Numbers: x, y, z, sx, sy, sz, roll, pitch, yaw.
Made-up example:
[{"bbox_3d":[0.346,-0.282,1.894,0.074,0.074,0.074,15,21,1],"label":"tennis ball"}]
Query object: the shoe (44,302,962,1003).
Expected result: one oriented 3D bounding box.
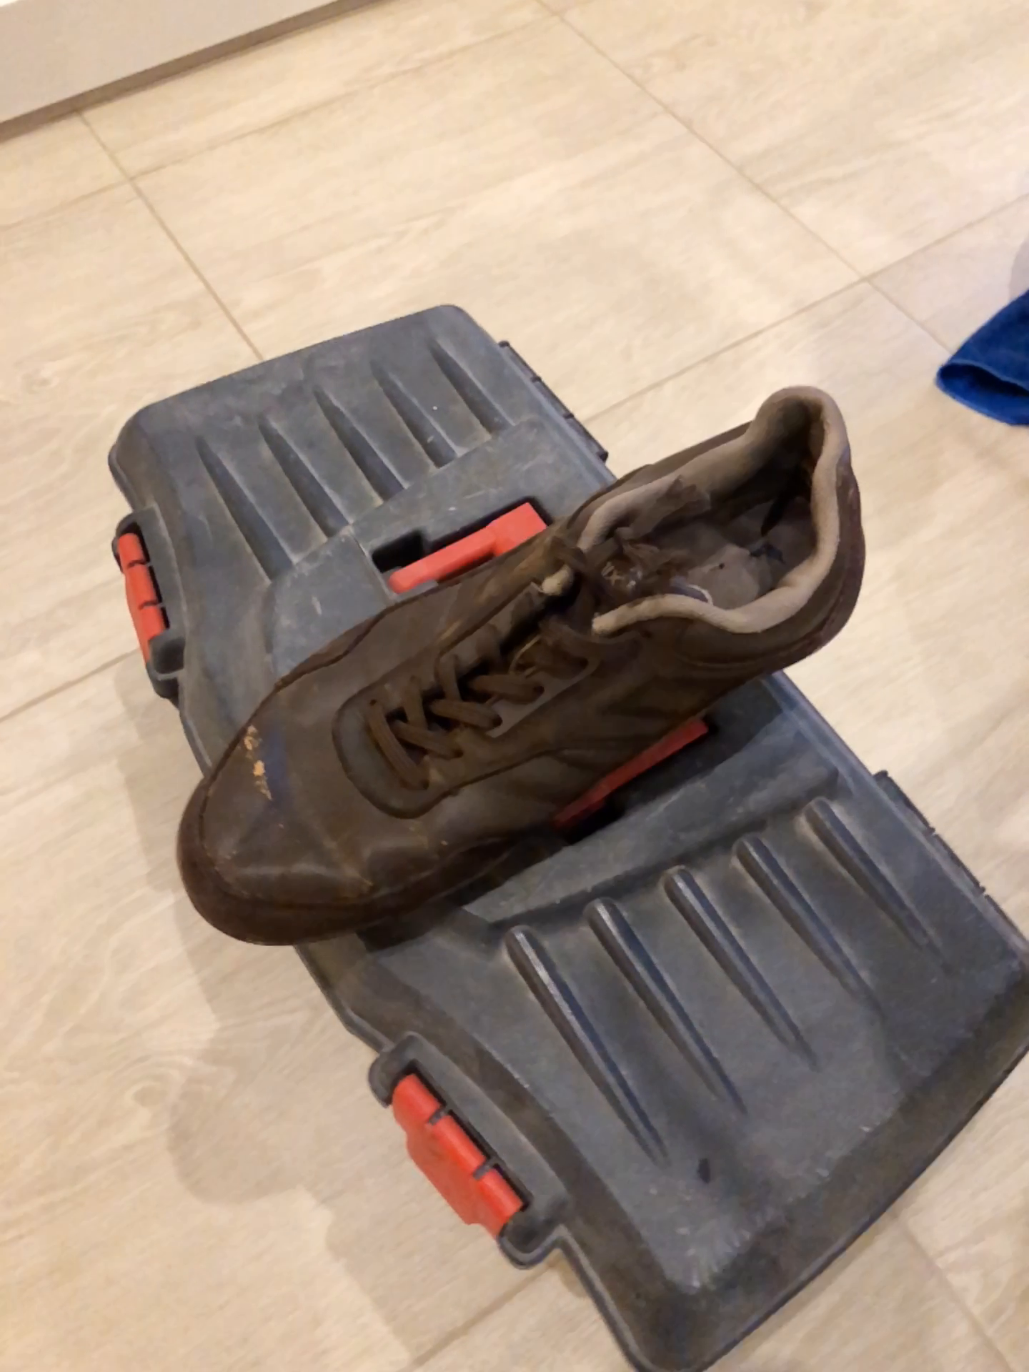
[{"bbox_3d":[0.001,-0.016,0.411,0.280,0.100,0.110,-27,63,-13],"label":"shoe"}]
